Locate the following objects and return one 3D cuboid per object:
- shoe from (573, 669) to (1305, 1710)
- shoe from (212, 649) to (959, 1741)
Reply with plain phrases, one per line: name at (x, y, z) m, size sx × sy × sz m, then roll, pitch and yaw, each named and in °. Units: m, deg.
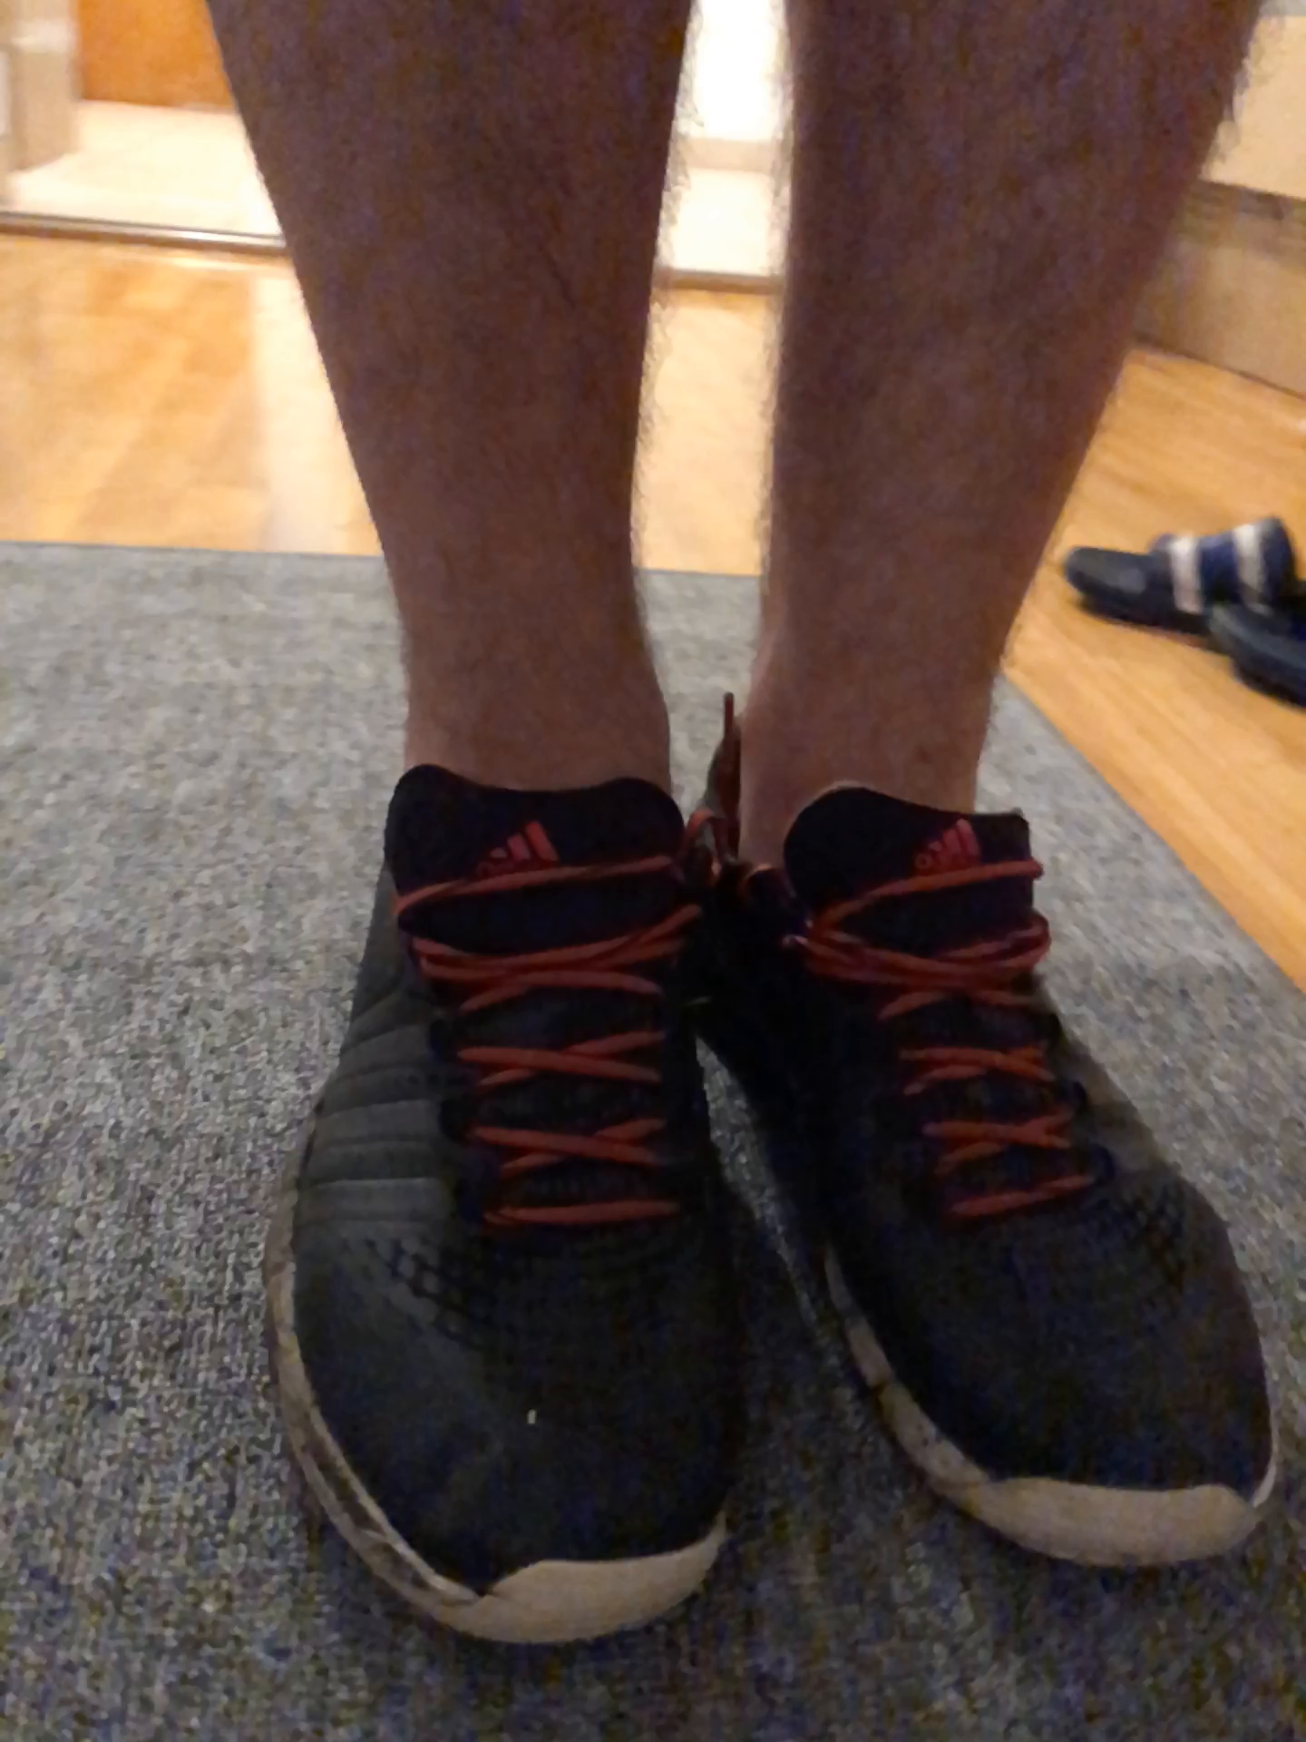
shoe at (0.086, 0.045, 0.419) m, size 0.130 × 0.089 × 0.322 m, roll -4°, pitch 30°, yaw -19°
shoe at (-0.038, 0.044, 0.383) m, size 0.120 × 0.099 × 0.302 m, roll 0°, pitch 29°, yaw -11°
